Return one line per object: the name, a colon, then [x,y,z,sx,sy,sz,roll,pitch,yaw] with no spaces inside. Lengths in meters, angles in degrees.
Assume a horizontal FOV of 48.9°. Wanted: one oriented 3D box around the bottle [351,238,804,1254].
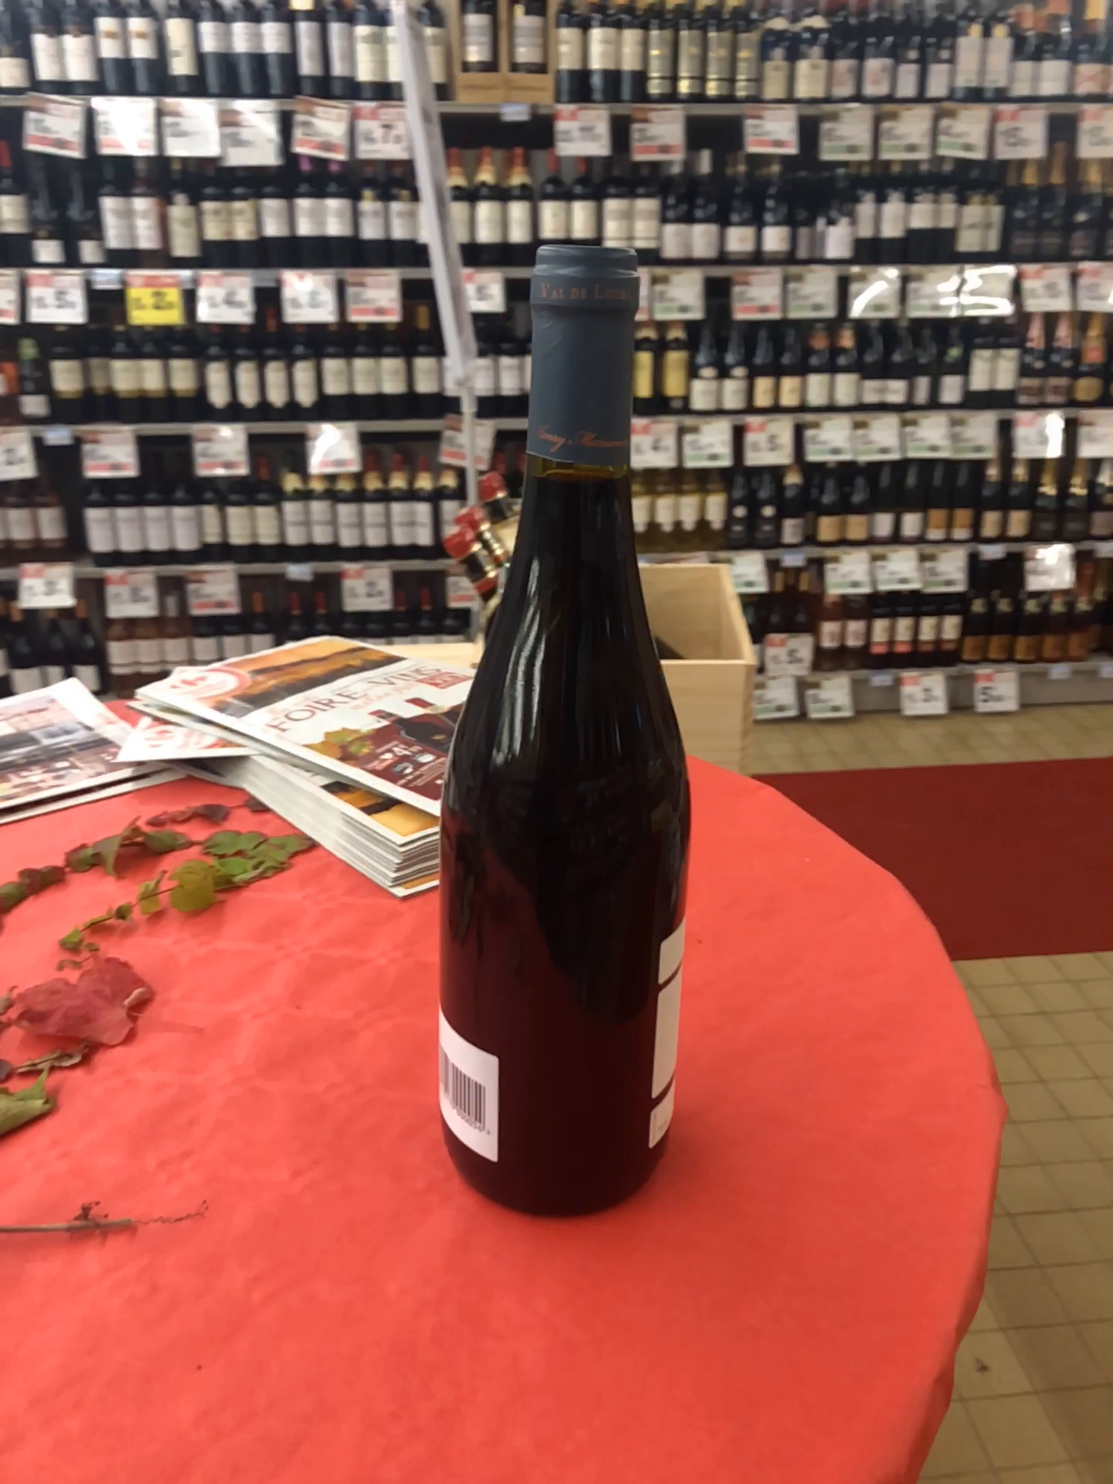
bottle: [0.003,0.000,0.381,0.090,0.289,0.090,0,21,0]
